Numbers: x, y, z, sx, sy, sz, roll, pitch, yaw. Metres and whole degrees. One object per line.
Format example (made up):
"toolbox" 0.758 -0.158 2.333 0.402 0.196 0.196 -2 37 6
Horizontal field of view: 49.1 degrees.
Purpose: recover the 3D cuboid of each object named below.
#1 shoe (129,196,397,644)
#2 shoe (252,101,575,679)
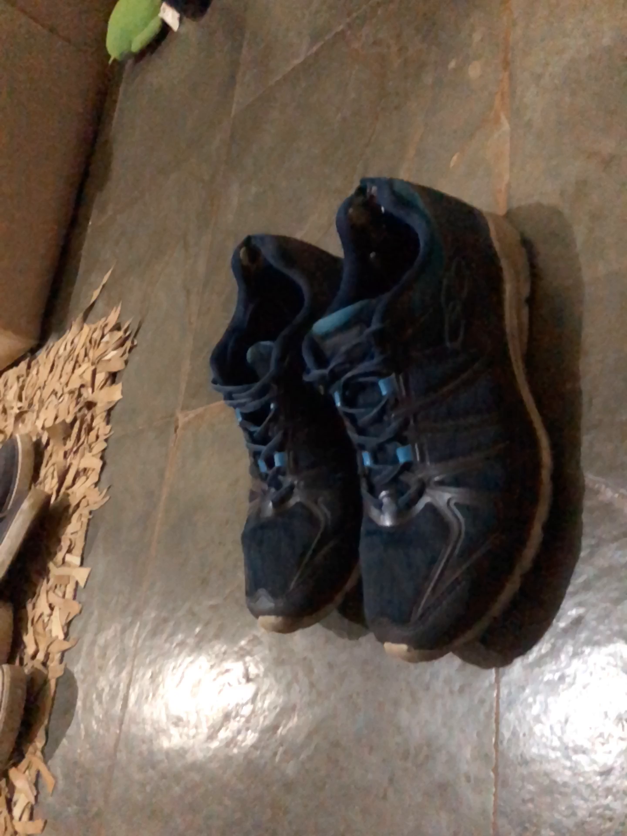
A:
"shoe" -0.029 0.008 0.495 0.120 0.109 0.281 -16 61 45
"shoe" 0.064 -0.010 0.394 0.120 0.109 0.281 -14 62 46
